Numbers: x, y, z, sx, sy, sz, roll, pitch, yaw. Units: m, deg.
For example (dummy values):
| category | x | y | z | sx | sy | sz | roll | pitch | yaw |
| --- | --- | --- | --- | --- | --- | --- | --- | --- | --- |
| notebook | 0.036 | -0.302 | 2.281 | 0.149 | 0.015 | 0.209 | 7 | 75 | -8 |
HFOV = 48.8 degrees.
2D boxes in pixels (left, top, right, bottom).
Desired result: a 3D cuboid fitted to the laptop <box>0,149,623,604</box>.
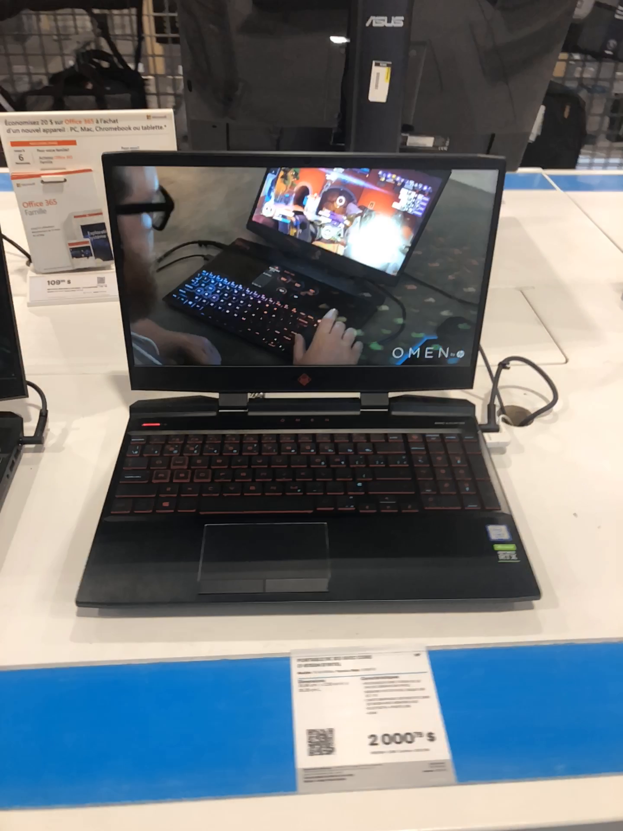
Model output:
| category | x | y | z | sx | sy | sz | roll | pitch | yaw |
| --- | --- | --- | --- | --- | --- | --- | --- | --- | --- |
| laptop | -0.002 | -0.049 | 0.573 | 0.355 | 0.239 | 0.294 | -1 | 38 | -3 |
